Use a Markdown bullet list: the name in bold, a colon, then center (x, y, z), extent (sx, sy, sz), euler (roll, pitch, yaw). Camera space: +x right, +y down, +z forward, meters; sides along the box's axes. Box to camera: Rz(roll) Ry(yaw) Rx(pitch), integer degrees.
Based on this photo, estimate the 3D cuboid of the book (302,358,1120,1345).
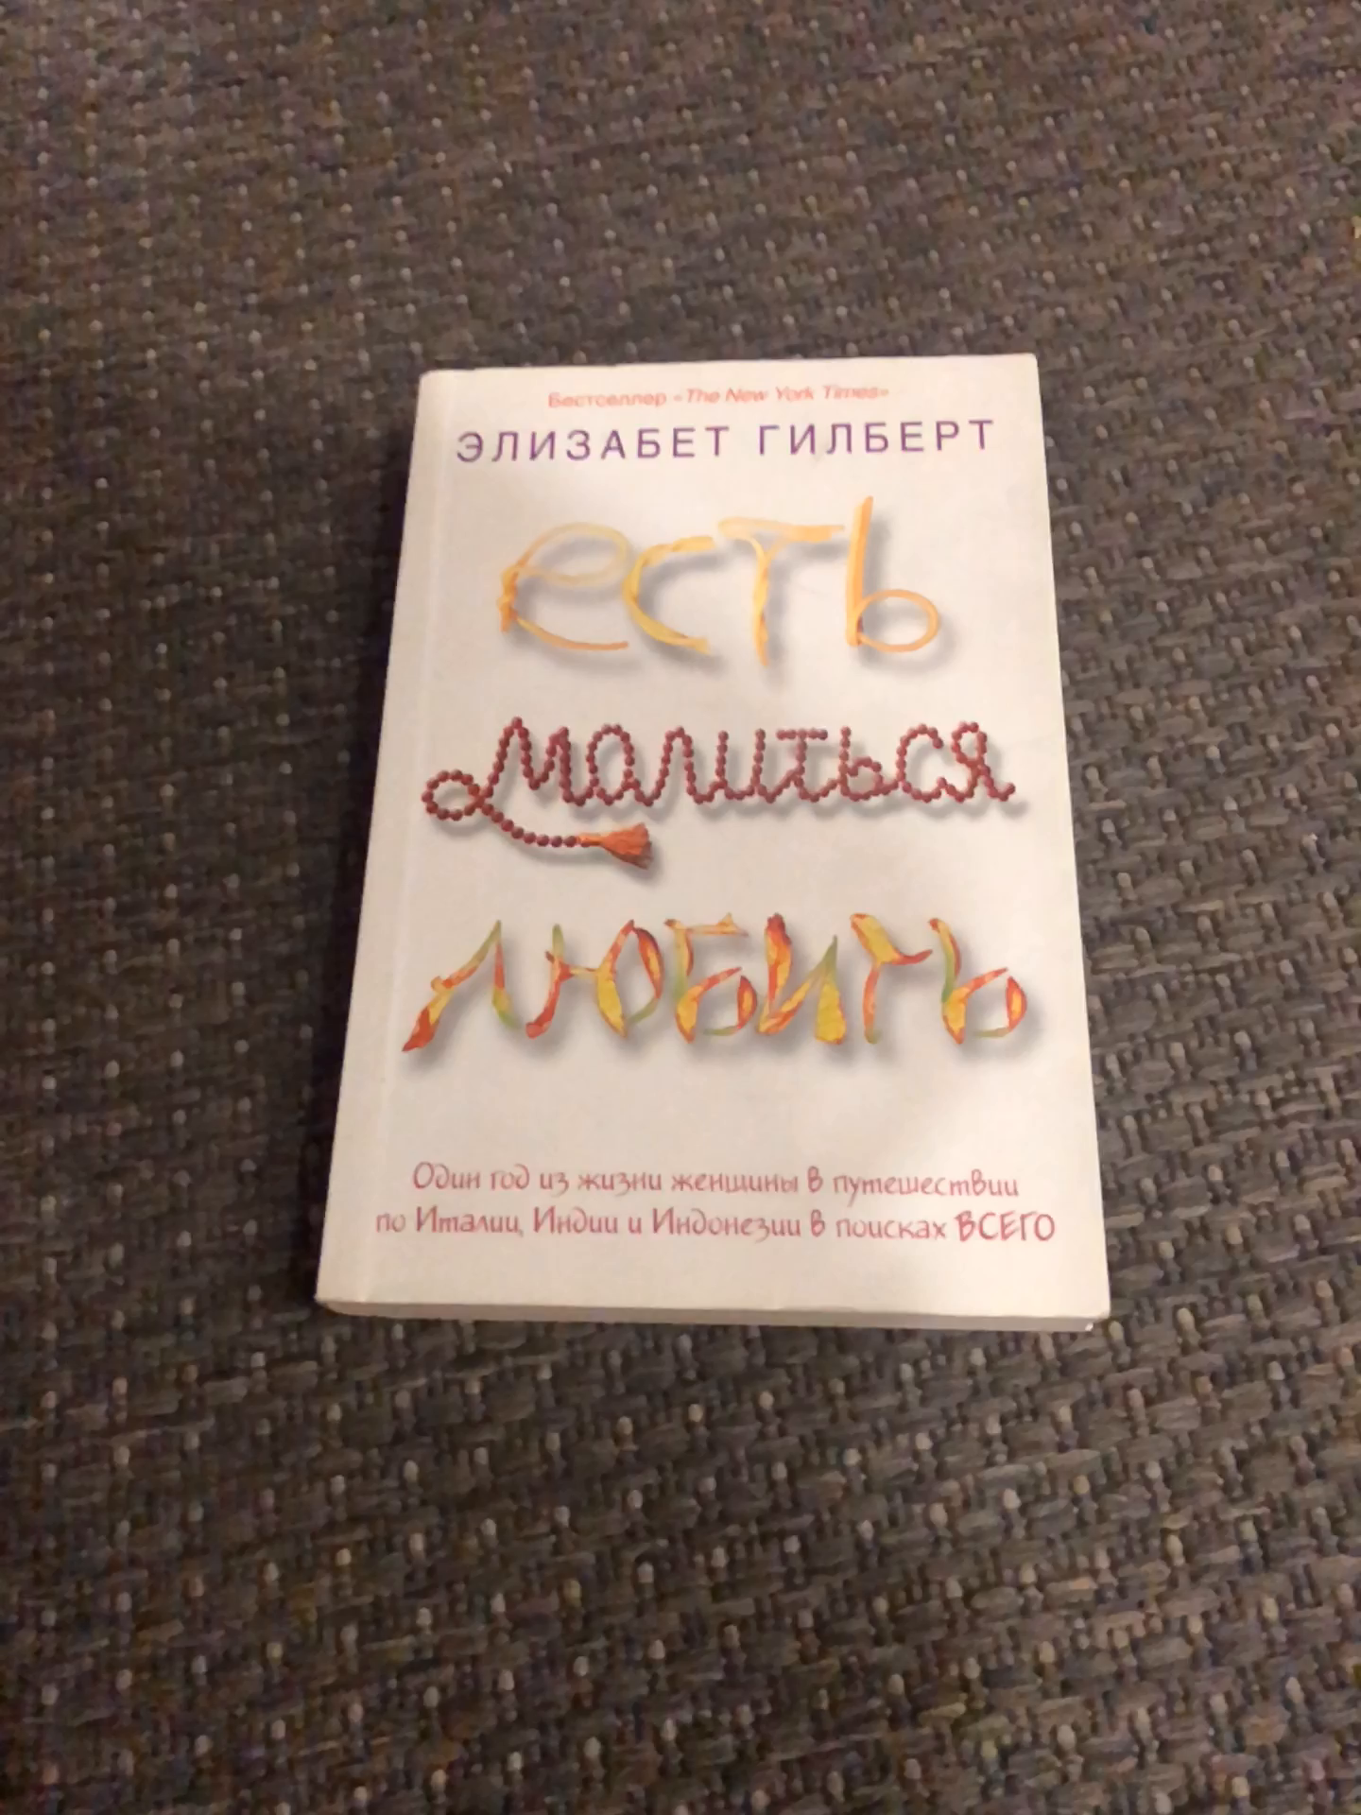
- **book**: center (0.008, -0.020, 0.323), extent (0.142, 0.041, 0.211), euler (1, 67, 2)
